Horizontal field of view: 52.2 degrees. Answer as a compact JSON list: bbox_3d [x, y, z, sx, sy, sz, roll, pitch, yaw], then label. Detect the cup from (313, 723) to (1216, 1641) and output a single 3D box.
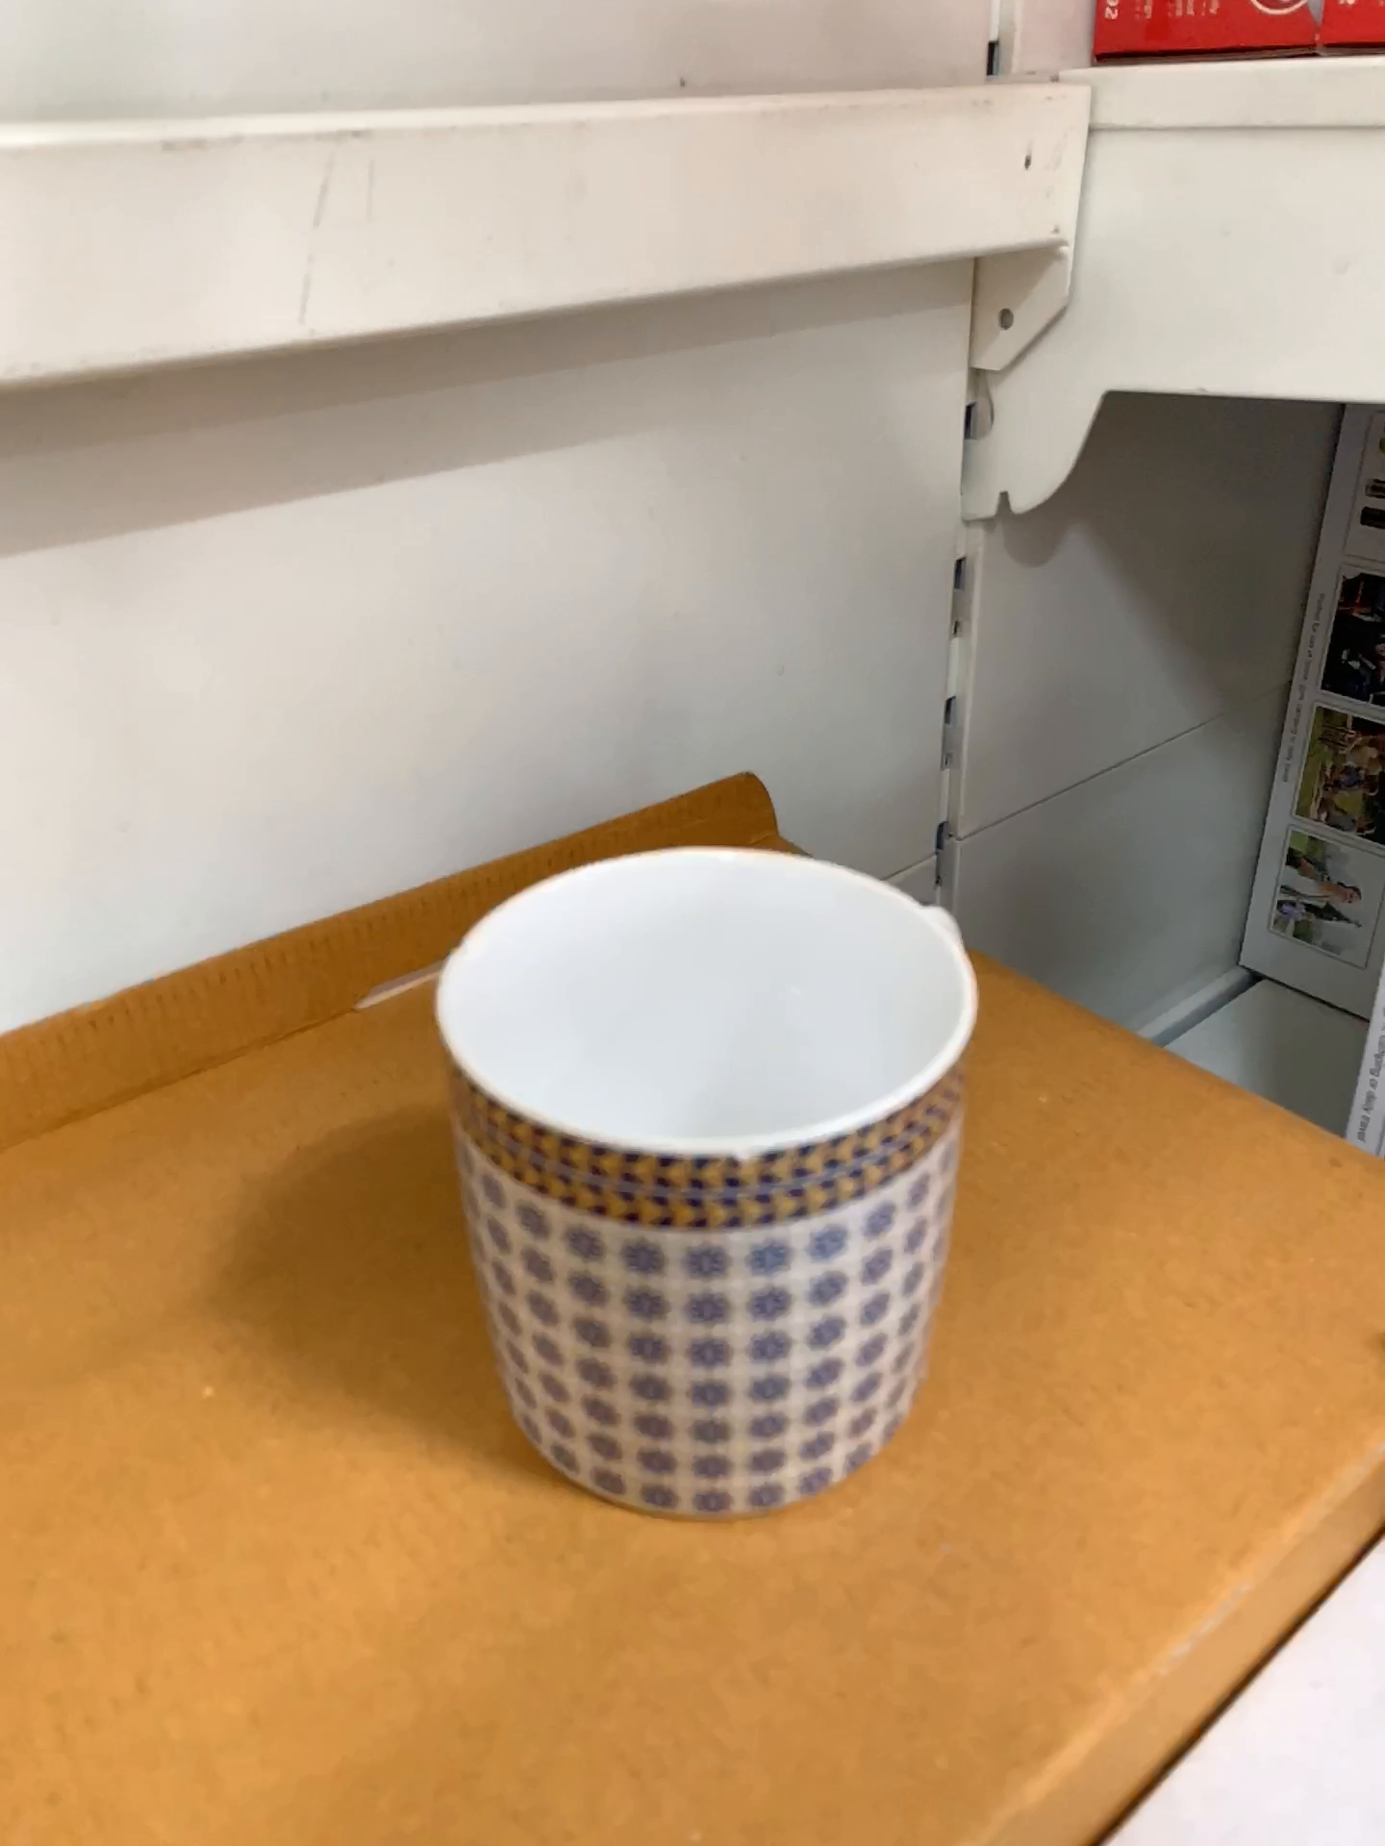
[{"bbox_3d":[0.015,0.027,0.223,0.080,0.069,0.111,22,38,35],"label":"cup"}]
